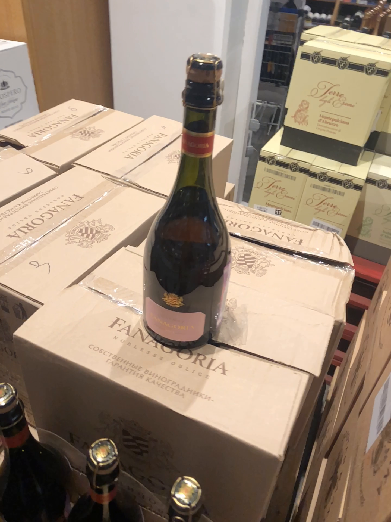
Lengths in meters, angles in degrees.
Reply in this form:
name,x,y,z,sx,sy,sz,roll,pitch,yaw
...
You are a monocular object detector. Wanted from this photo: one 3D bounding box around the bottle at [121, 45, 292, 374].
name,x,y,z,sx,sy,sz,roll,pitch,yaw
bottle,0.004,-0.038,0.432,0.110,0.298,0.101,3,37,-2
